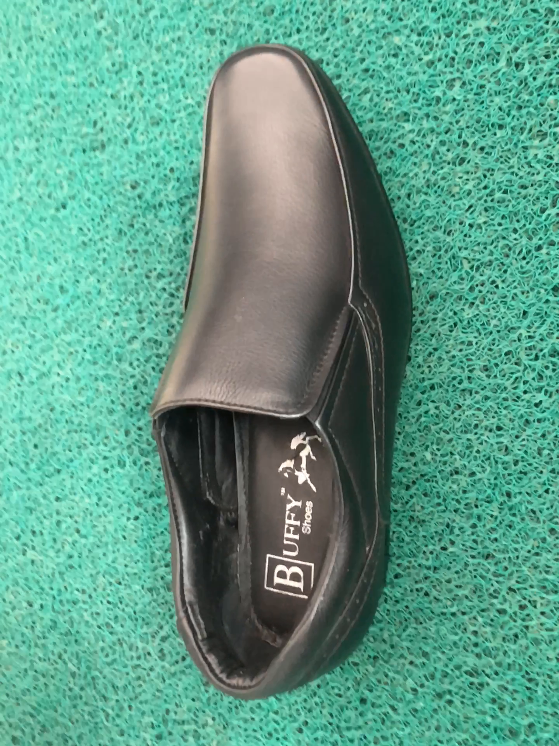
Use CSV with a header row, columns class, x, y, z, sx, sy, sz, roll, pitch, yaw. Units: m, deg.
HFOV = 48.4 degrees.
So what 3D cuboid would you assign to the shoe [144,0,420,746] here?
class,x,y,z,sx,sy,sz,roll,pitch,yaw
shoe,0.006,-0.015,0.290,0.100,0.090,0.310,0,90,23
